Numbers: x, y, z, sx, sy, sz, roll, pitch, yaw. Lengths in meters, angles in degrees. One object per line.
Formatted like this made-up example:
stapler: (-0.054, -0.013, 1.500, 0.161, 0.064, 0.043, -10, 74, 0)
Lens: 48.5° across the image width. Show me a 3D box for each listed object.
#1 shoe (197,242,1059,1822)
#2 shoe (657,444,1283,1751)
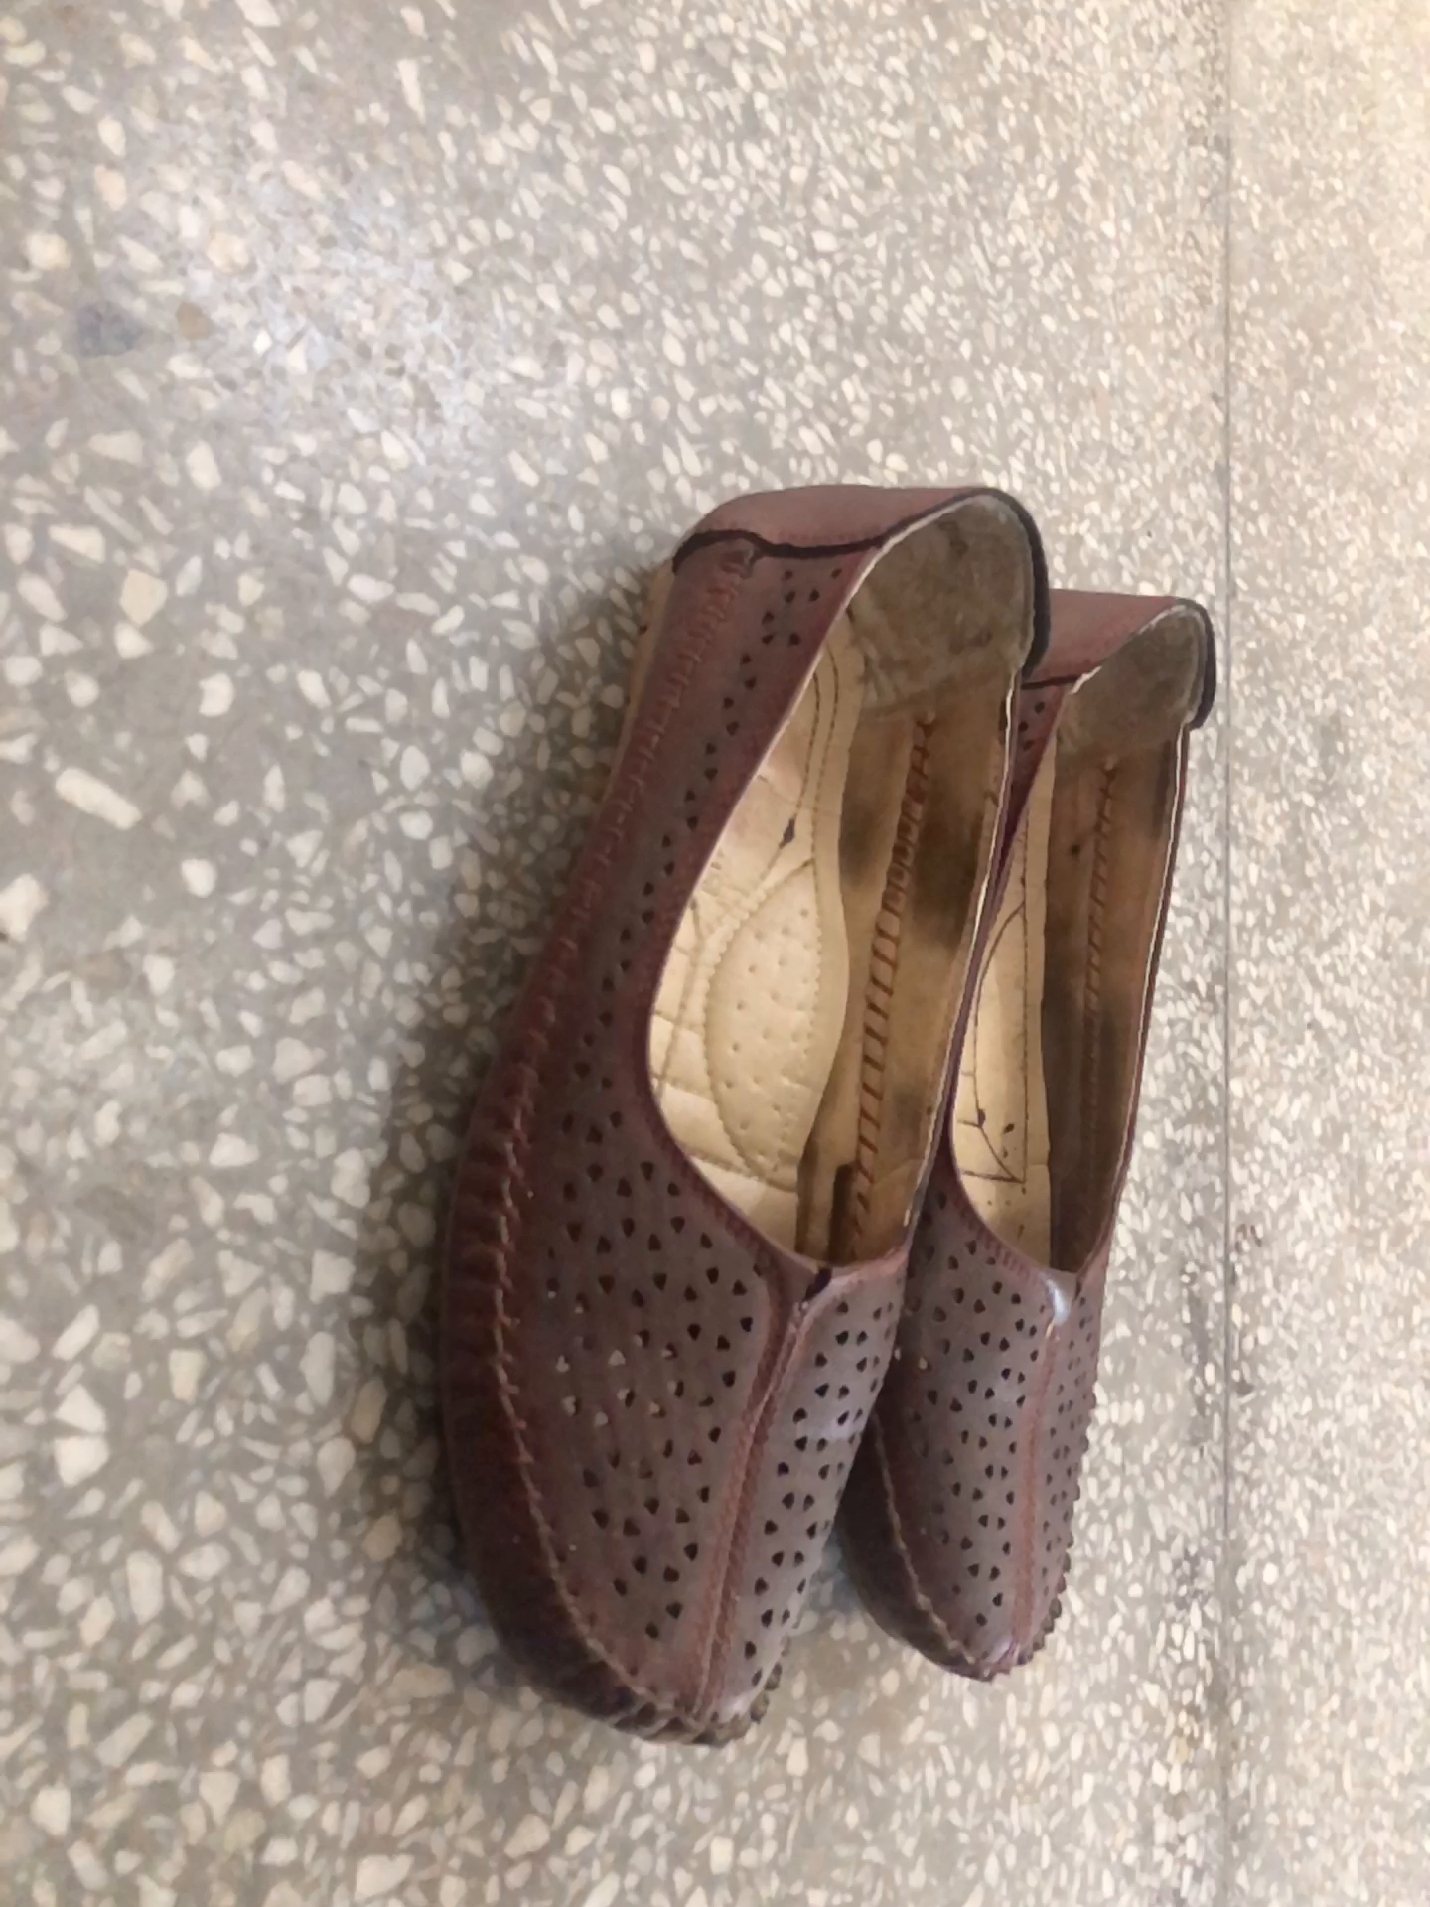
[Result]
shoe: (-0.004, 0.012, 0.280, 0.088, 0.080, 0.236, 26, 63, -41)
shoe: (0.055, 0.029, 0.338, 0.095, 0.080, 0.231, 17, 70, -44)
